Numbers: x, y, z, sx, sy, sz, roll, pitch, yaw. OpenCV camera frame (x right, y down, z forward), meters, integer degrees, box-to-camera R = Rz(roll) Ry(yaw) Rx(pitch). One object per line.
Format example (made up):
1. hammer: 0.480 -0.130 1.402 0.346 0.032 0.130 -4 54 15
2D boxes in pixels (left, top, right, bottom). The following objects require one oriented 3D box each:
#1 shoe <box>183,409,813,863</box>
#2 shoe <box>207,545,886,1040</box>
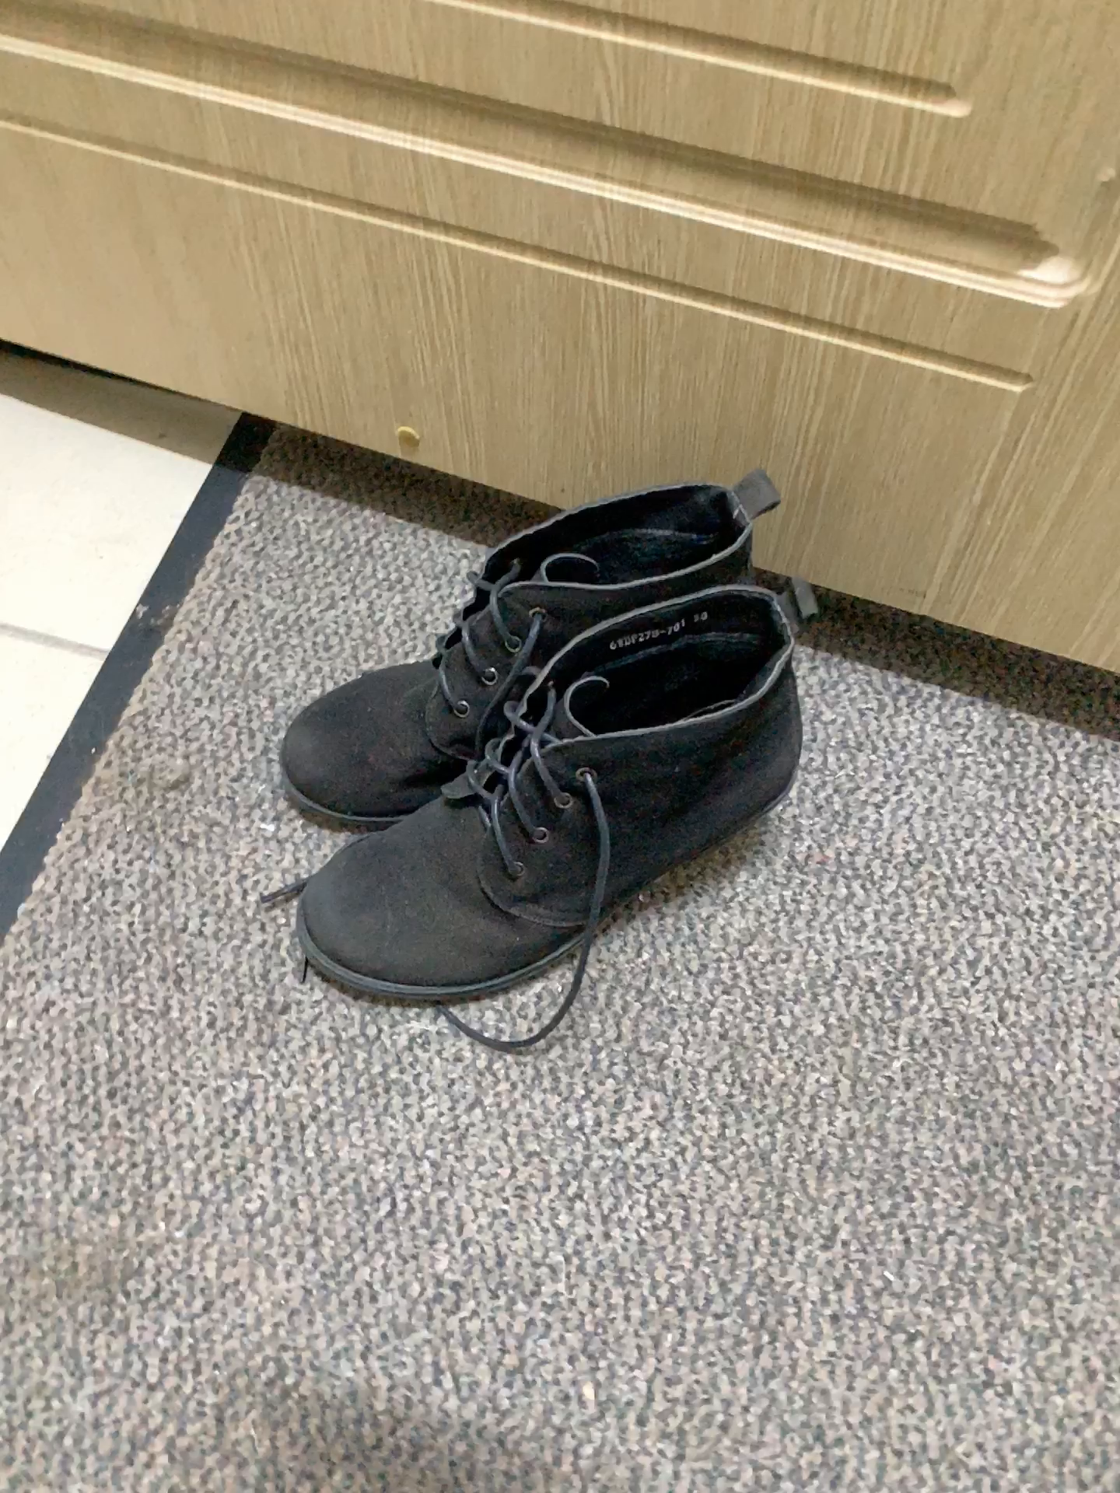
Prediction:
1. shoe: -0.025 -0.042 0.509 0.230 0.160 0.080 -13 62 -7
2. shoe: -0.005 0.026 0.480 0.230 0.160 0.080 -17 62 -9
